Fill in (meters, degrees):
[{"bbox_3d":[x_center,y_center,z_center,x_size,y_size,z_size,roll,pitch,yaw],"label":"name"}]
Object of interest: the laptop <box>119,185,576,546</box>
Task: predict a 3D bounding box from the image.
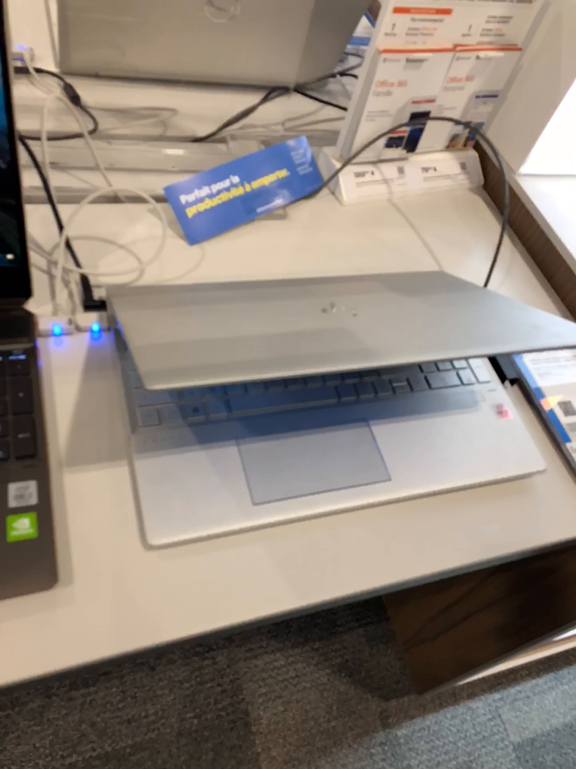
[{"bbox_3d":[0.061,-0.033,0.497,0.346,0.116,0.230,-6,58,-19],"label":"laptop"}]
